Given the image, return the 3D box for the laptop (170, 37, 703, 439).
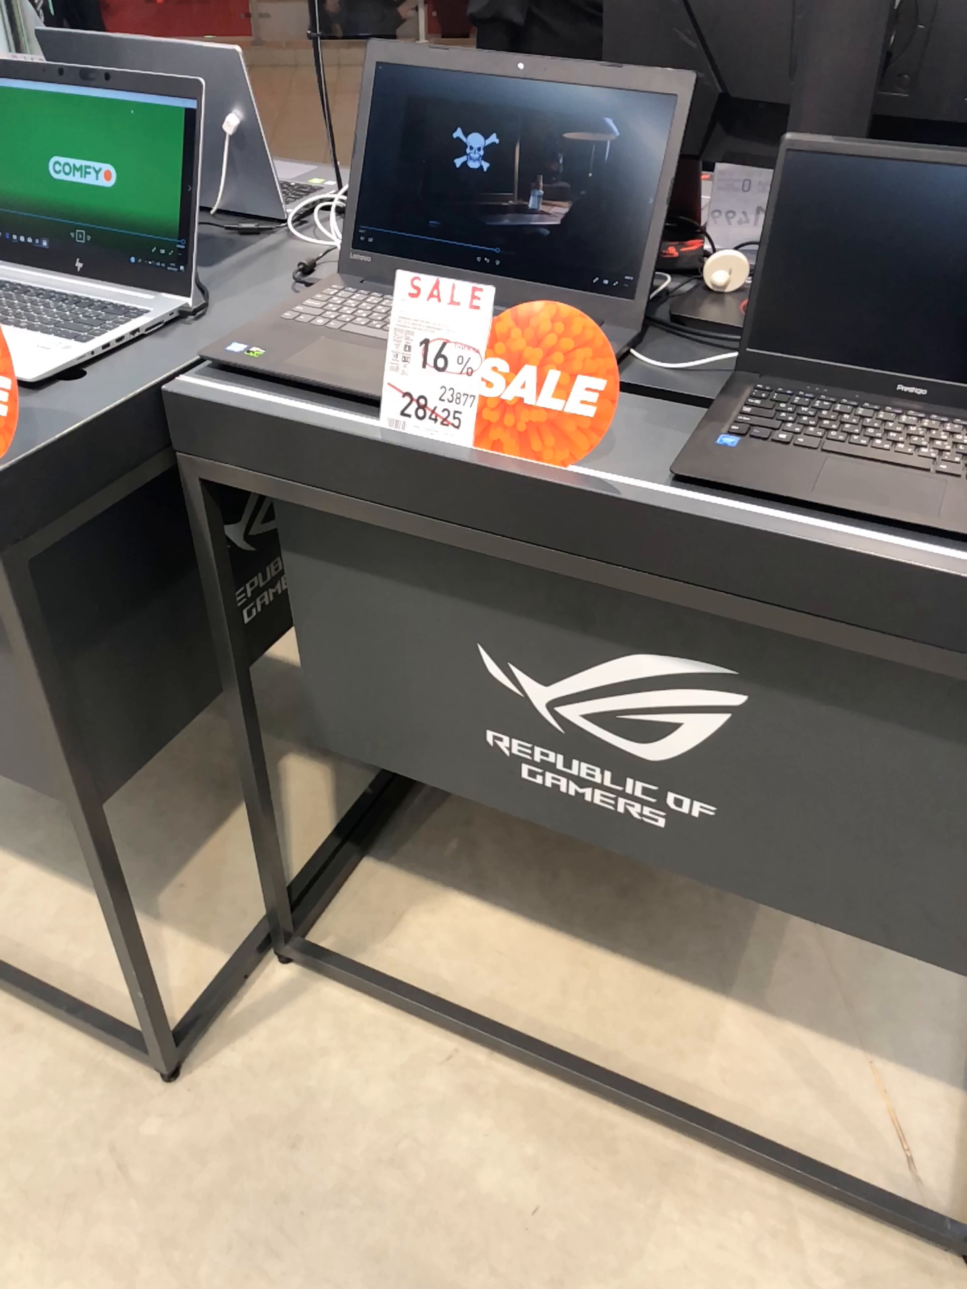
[{"bbox_3d":[-0.033,-0.430,1.068,0.382,0.235,0.336,18,43,22],"label":"laptop"}]
